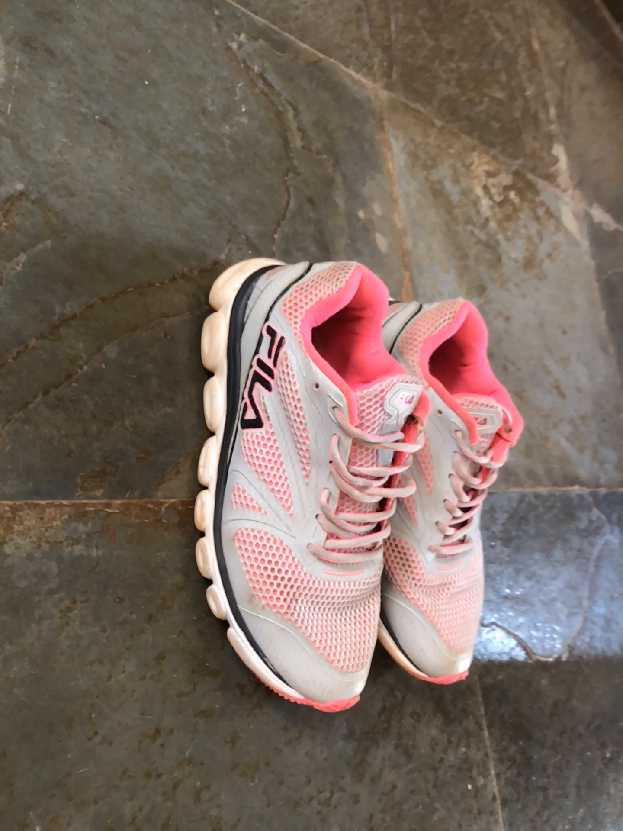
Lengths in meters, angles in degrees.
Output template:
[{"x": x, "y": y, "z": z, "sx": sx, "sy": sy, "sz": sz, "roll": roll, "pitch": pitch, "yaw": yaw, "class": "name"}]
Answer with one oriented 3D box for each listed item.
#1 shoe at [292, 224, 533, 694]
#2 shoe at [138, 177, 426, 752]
[{"x": 0.066, "y": 0.031, "z": 0.492, "sx": 0.111, "sy": 0.099, "sz": 0.290, "roll": 10, "pitch": 72, "yaw": -41, "class": "shoe"}, {"x": -0.023, "y": 0.026, "z": 0.406, "sx": 0.111, "sy": 0.099, "sz": 0.280, "roll": 6, "pitch": 74, "yaw": -42, "class": "shoe"}]
